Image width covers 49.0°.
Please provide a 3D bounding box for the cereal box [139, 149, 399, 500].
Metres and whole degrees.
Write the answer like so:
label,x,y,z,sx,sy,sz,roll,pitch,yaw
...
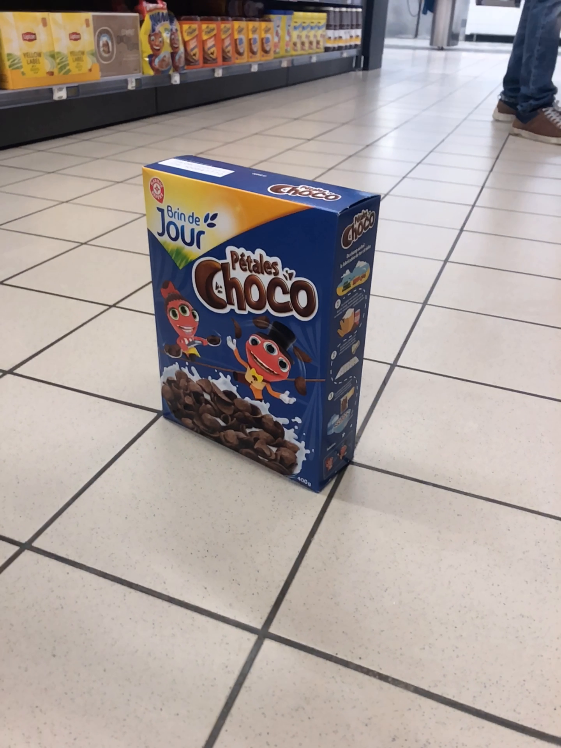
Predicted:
label,x,y,z,sx,sy,sz,roll,pitch,yaw
cereal box,-0.018,-0.048,0.536,0.200,0.248,0.070,22,35,31
